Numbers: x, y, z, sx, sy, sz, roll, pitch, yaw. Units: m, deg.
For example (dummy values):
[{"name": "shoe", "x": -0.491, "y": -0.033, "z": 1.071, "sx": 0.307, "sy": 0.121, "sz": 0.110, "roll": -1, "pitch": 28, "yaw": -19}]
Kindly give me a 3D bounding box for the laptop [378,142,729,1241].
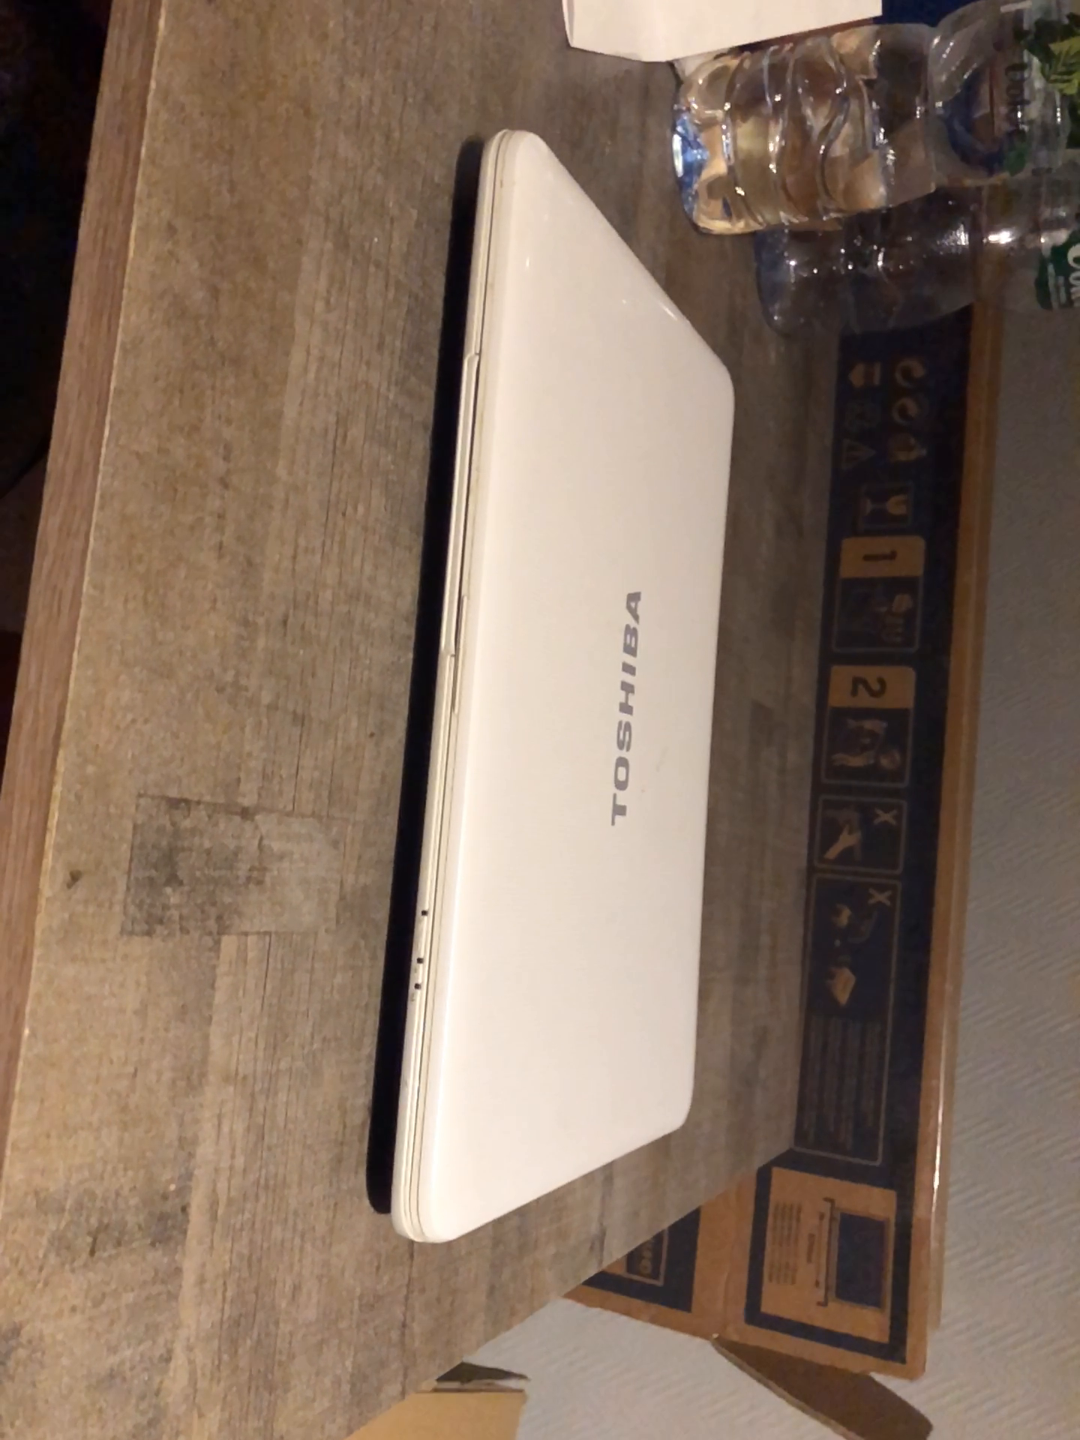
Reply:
[{"name": "laptop", "x": 0.023, "y": -0.006, "z": 0.506, "sx": 0.229, "sy": 0.020, "sz": 0.375, "roll": 16, "pitch": 76, "yaw": -61}]
